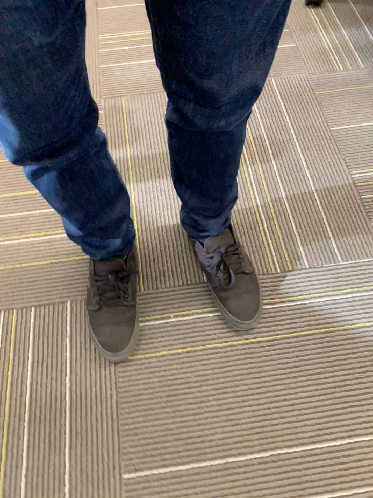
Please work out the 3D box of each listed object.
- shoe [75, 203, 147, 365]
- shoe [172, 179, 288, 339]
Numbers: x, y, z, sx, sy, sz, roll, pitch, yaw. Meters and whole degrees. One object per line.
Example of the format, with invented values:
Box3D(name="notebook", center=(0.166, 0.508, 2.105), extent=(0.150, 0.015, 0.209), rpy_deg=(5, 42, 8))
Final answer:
Box3D(name="shoe", center=(-0.152, 0.066, 0.769), extent=(0.109, 0.113, 0.292), rpy_deg=(-7, 62, -2))
Box3D(name="shoe", center=(0.077, 0.017, 0.789), extent=(0.109, 0.113, 0.292), rpy_deg=(-20, 63, -9))
